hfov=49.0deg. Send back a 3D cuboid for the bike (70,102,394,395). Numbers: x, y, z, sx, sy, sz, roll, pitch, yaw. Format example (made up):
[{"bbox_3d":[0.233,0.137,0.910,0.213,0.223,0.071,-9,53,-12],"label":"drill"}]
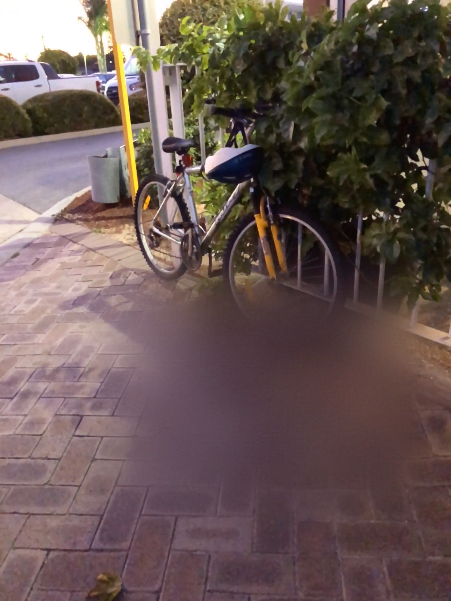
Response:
[{"bbox_3d":[-0.095,-0.431,2.452,0.552,0.995,1.699,-20,29,-33],"label":"bike"}]
